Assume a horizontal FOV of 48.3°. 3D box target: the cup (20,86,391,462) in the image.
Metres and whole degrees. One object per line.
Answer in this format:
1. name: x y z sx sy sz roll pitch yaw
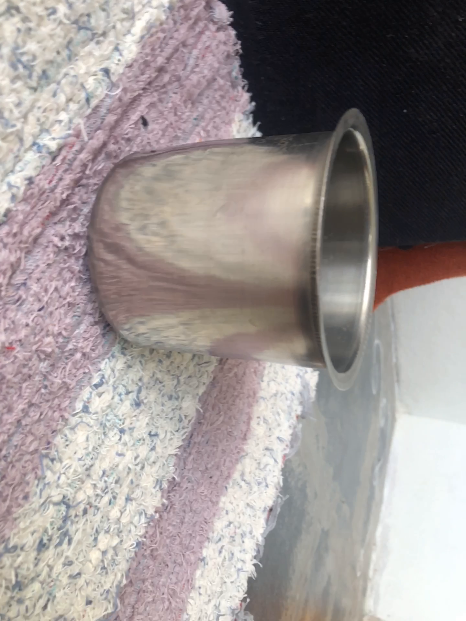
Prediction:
1. cup: 0.005 -0.019 0.213 0.100 0.099 0.100 6 90 -67
